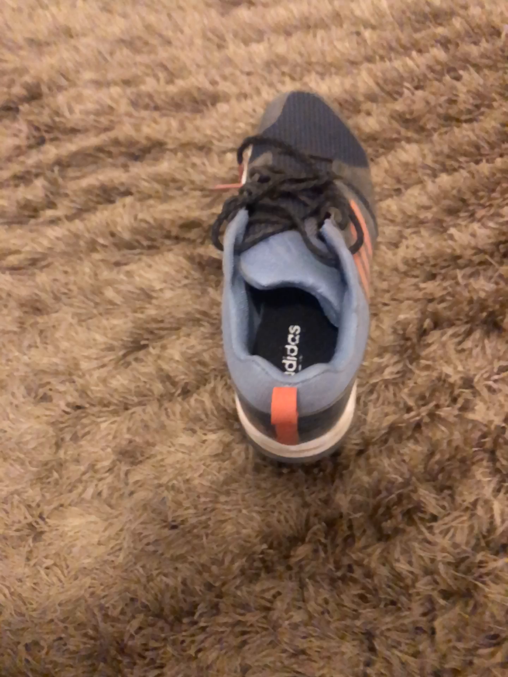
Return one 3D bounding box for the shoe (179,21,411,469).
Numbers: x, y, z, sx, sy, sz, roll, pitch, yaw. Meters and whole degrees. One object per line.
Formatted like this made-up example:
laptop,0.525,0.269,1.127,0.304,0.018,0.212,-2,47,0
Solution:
shoe,0.035,-0.065,0.378,0.113,0.110,0.275,4,67,5
